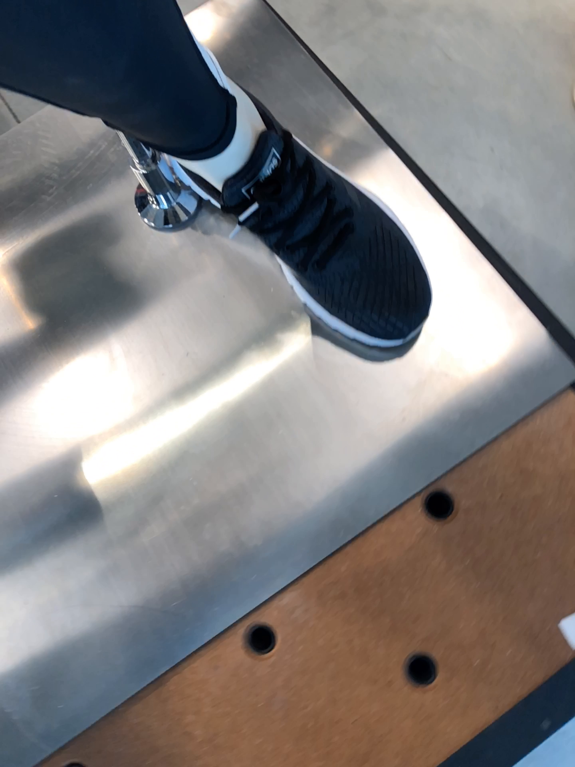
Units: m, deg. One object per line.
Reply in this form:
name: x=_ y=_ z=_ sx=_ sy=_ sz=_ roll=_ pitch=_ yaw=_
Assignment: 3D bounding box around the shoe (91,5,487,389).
shoe: x=0.001 y=-0.137 z=0.505 sx=0.290 sy=0.100 sz=0.110 roll=44 pitch=93 yaw=7
